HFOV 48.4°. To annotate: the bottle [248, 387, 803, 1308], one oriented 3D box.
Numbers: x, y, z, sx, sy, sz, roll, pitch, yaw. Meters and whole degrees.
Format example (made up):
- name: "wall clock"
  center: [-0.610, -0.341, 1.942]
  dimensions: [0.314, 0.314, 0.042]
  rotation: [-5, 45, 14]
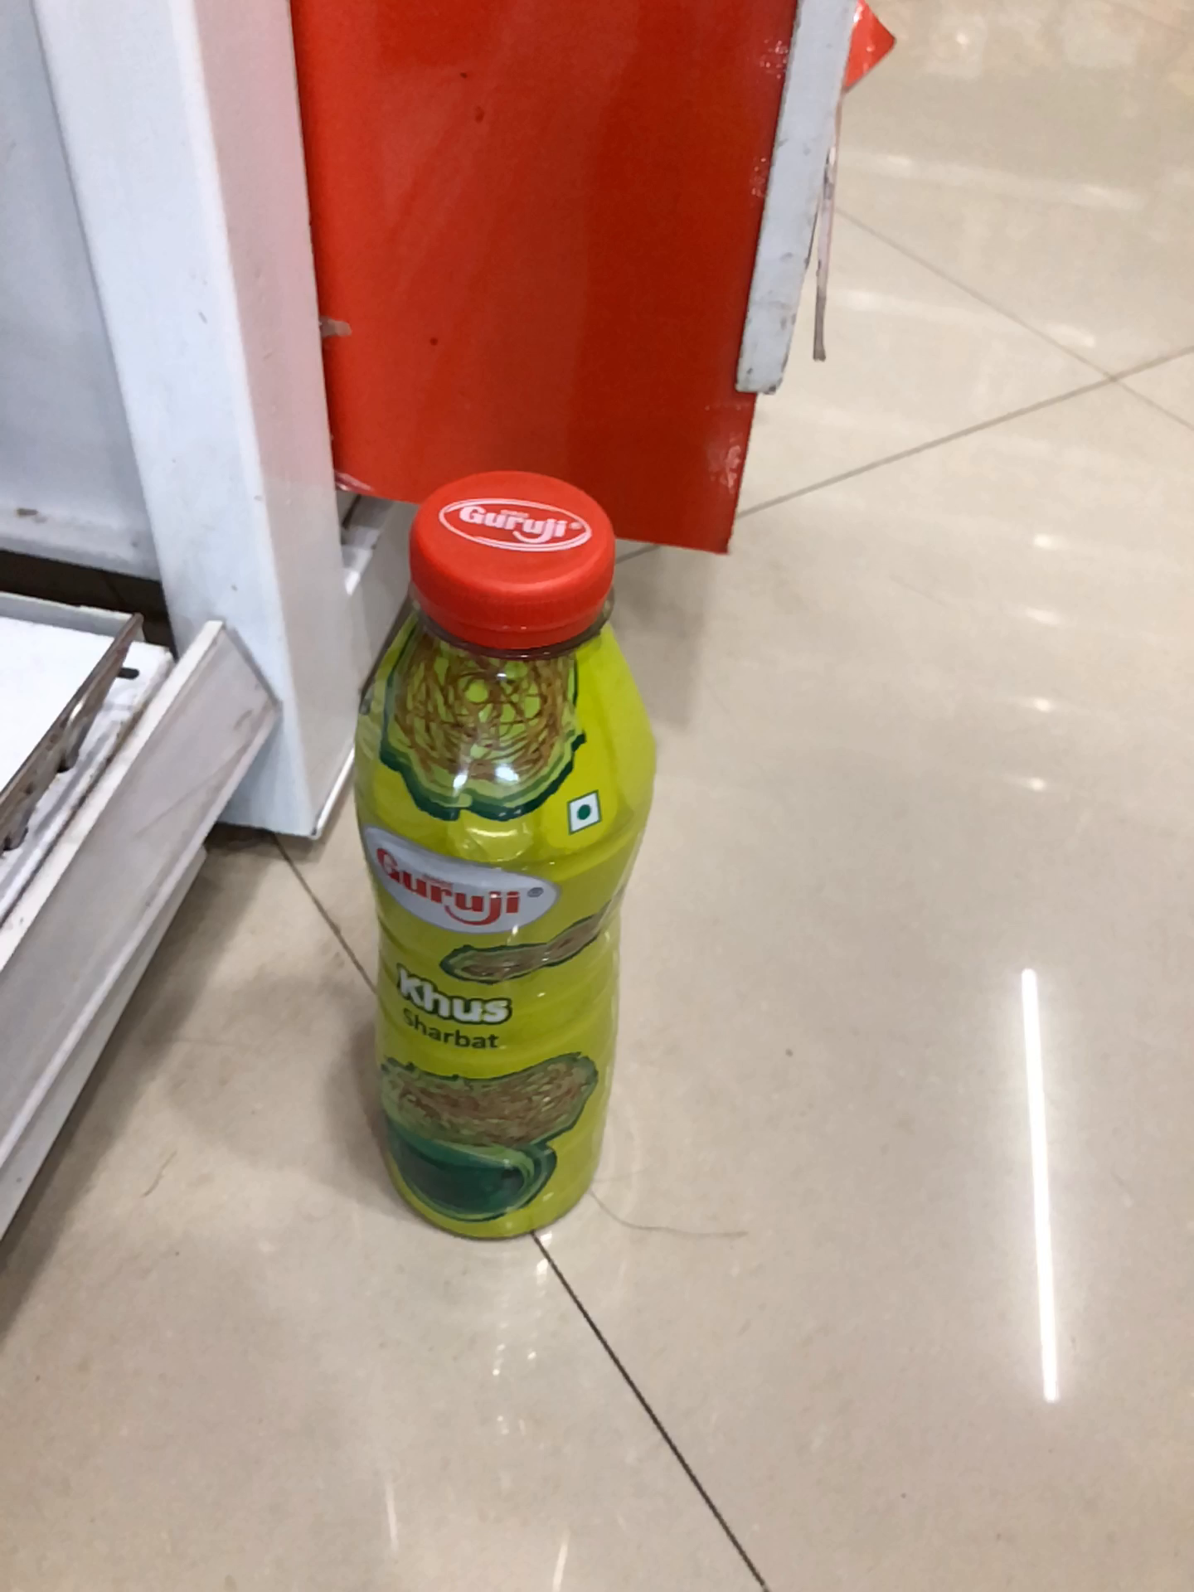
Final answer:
- name: "bottle"
  center: [-0.016, 0.031, 0.341]
  dimensions: [0.080, 0.238, 0.081]
  rotation: [2, 47, -2]
